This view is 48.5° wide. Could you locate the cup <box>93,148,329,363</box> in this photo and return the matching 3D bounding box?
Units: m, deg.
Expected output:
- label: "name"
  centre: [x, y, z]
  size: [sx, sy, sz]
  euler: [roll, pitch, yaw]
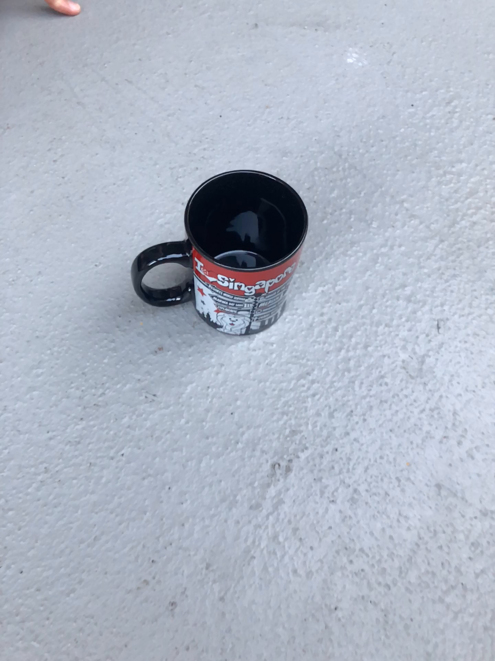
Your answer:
- label: "cup"
  centre: [-0.027, -0.049, 0.385]
  size: [0.130, 0.110, 0.080]
  euler: [-11, 64, -10]
